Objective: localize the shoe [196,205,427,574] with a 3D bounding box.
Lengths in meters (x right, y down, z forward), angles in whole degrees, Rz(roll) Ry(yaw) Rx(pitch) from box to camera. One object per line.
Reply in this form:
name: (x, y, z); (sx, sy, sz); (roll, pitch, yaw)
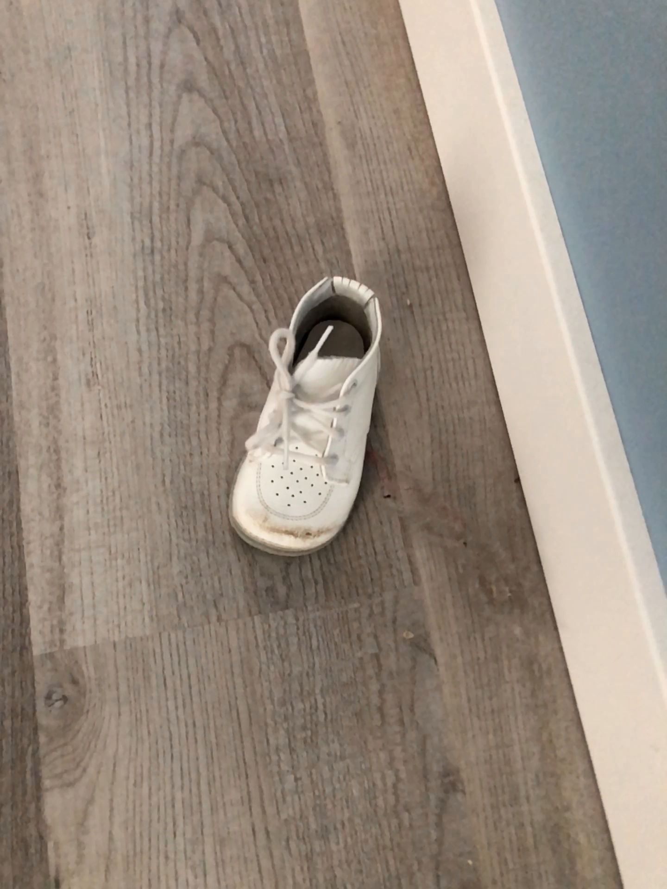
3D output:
shoe: (-0.009, -0.024, 0.346); (0.060, 0.060, 0.150); (17, 72, -2)
